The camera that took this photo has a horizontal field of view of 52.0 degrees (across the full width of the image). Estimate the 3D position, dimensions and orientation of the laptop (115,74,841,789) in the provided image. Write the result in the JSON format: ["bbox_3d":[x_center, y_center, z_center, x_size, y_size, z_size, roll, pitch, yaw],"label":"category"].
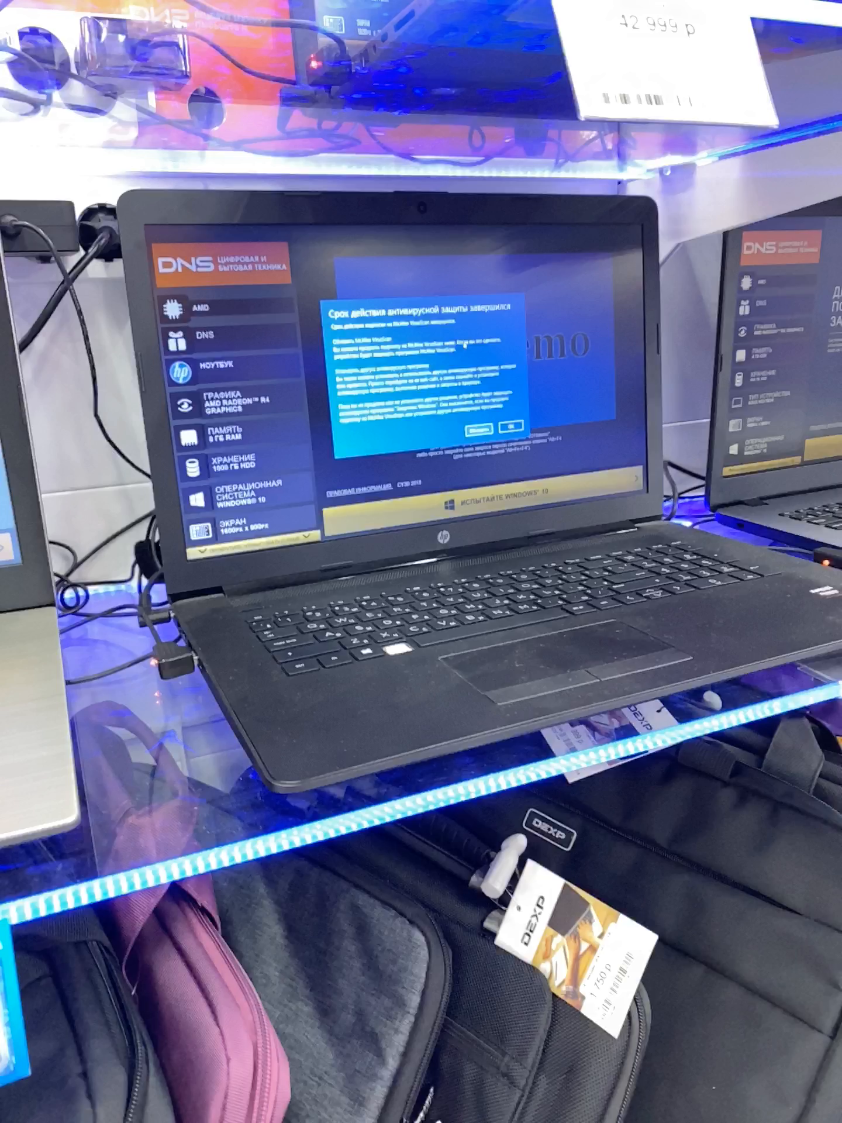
[{"bbox_3d":[0.066,-0.099,0.529,0.419,0.260,0.295,-9,17,-24],"label":"laptop"}]
